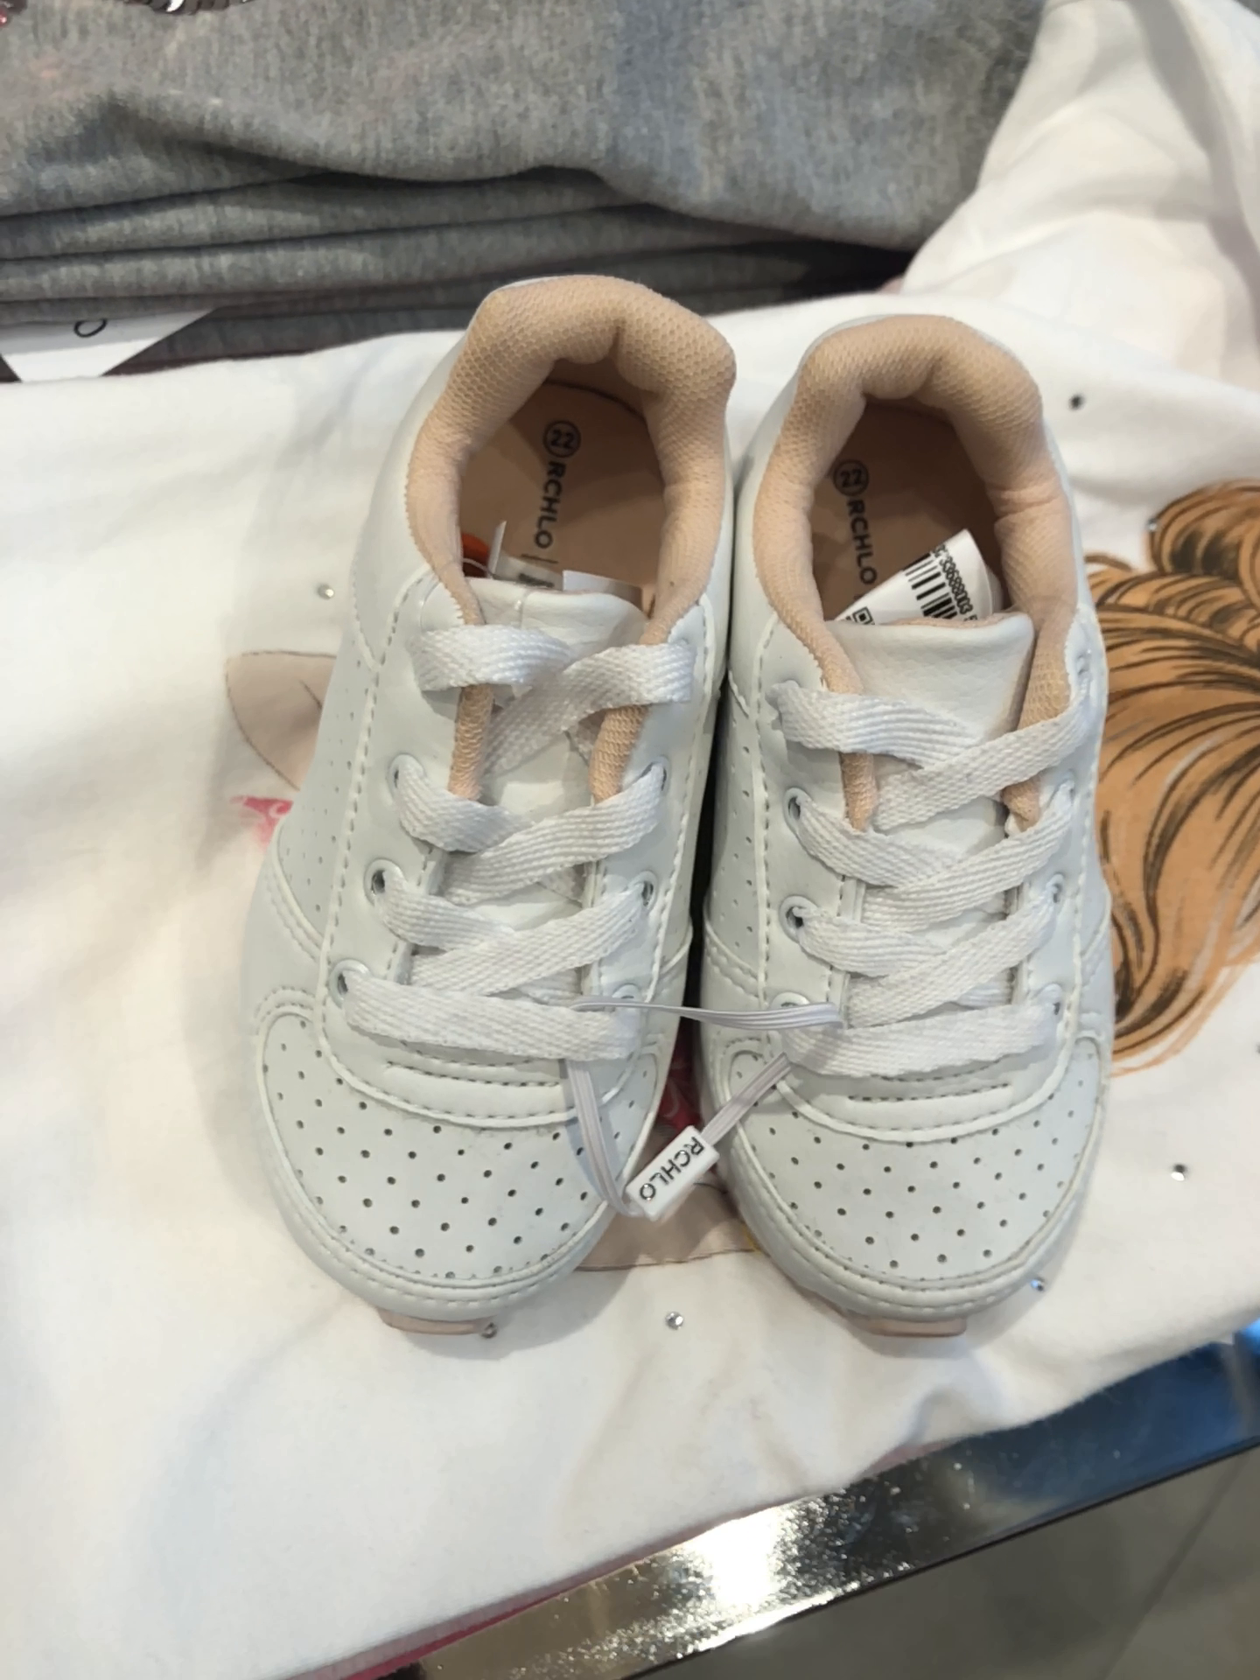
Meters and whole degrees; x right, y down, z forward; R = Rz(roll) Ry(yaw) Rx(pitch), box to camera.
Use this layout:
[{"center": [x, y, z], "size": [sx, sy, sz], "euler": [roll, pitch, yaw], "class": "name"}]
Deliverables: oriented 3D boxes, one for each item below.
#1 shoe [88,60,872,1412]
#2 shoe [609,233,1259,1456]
[{"center": [-0.021, -0.010, 0.206], "size": [0.080, 0.060, 0.160], "euler": [8, 84, -15], "class": "shoe"}, {"center": [0.047, -0.001, 0.225], "size": [0.080, 0.060, 0.160], "euler": [-2, 87, -17], "class": "shoe"}]
